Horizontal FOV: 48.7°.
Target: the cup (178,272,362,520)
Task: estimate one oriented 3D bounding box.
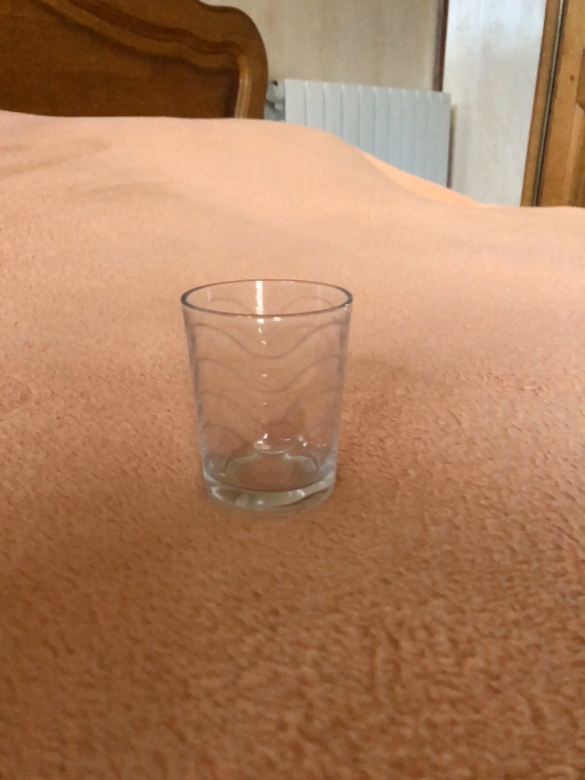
[{"bbox_3d":[-0.006,-0.001,0.252,0.060,0.080,0.060,0,20,0],"label":"cup"}]
